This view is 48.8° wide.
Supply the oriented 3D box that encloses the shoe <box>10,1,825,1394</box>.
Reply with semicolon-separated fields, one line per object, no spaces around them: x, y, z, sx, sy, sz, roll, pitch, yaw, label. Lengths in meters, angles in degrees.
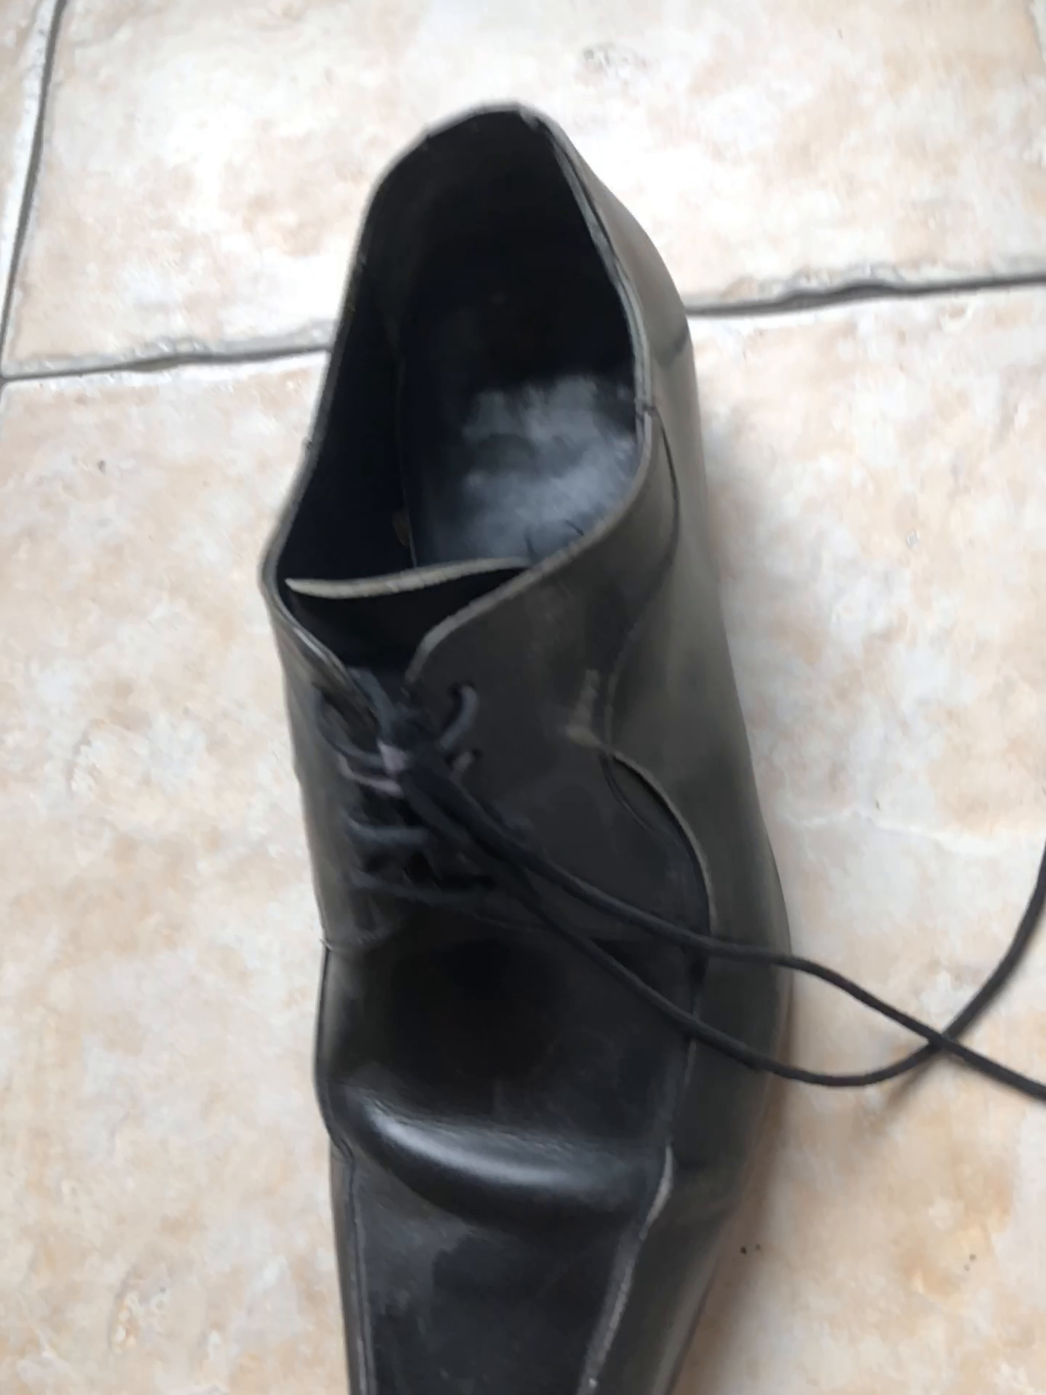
0.001;0.029;0.225;0.100;0.090;0.290;2;76;17;shoe
